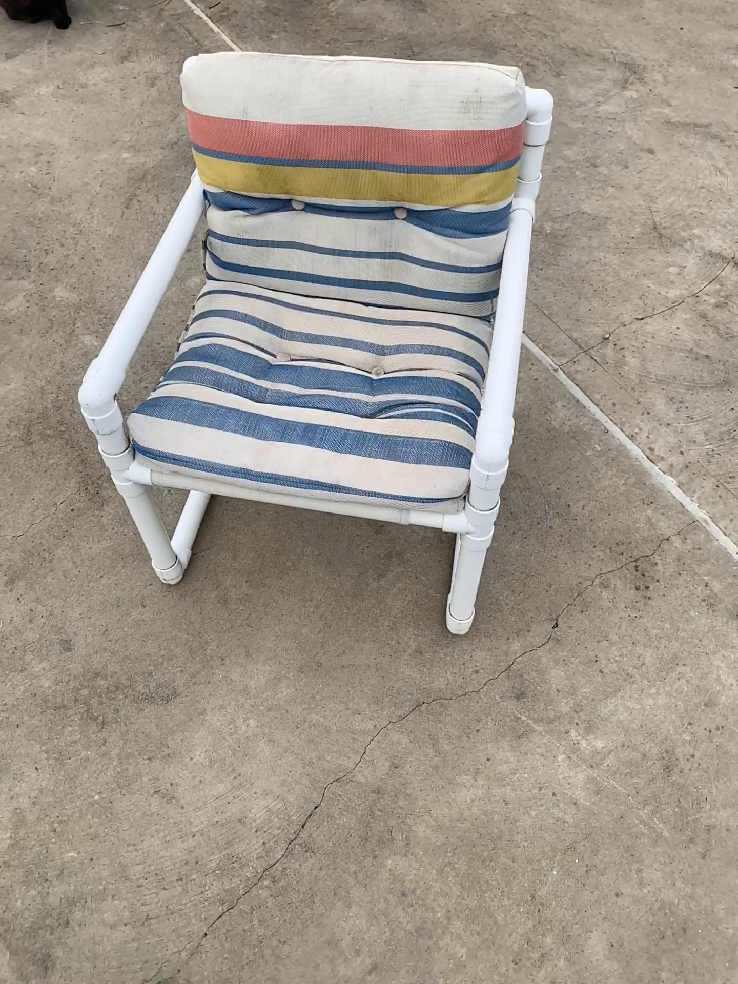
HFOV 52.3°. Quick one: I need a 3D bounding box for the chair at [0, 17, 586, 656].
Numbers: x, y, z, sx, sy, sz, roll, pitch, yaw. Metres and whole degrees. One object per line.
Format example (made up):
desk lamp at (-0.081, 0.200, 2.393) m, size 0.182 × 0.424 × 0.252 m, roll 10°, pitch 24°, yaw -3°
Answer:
chair at (-0.061, -0.231, 1.250) m, size 0.650 × 0.687 × 0.672 m, roll 9°, pitch 56°, yaw 6°
